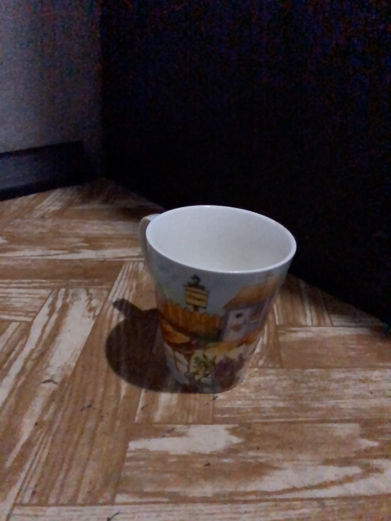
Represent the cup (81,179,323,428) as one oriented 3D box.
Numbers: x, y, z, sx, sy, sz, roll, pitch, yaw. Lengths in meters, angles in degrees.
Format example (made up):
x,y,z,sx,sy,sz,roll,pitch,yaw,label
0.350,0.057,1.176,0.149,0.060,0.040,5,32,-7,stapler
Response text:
x,y,z,sx,sy,sz,roll,pitch,yaw,label
-0.002,0.016,0.283,0.087,0.092,0.120,-22,39,-39,cup
